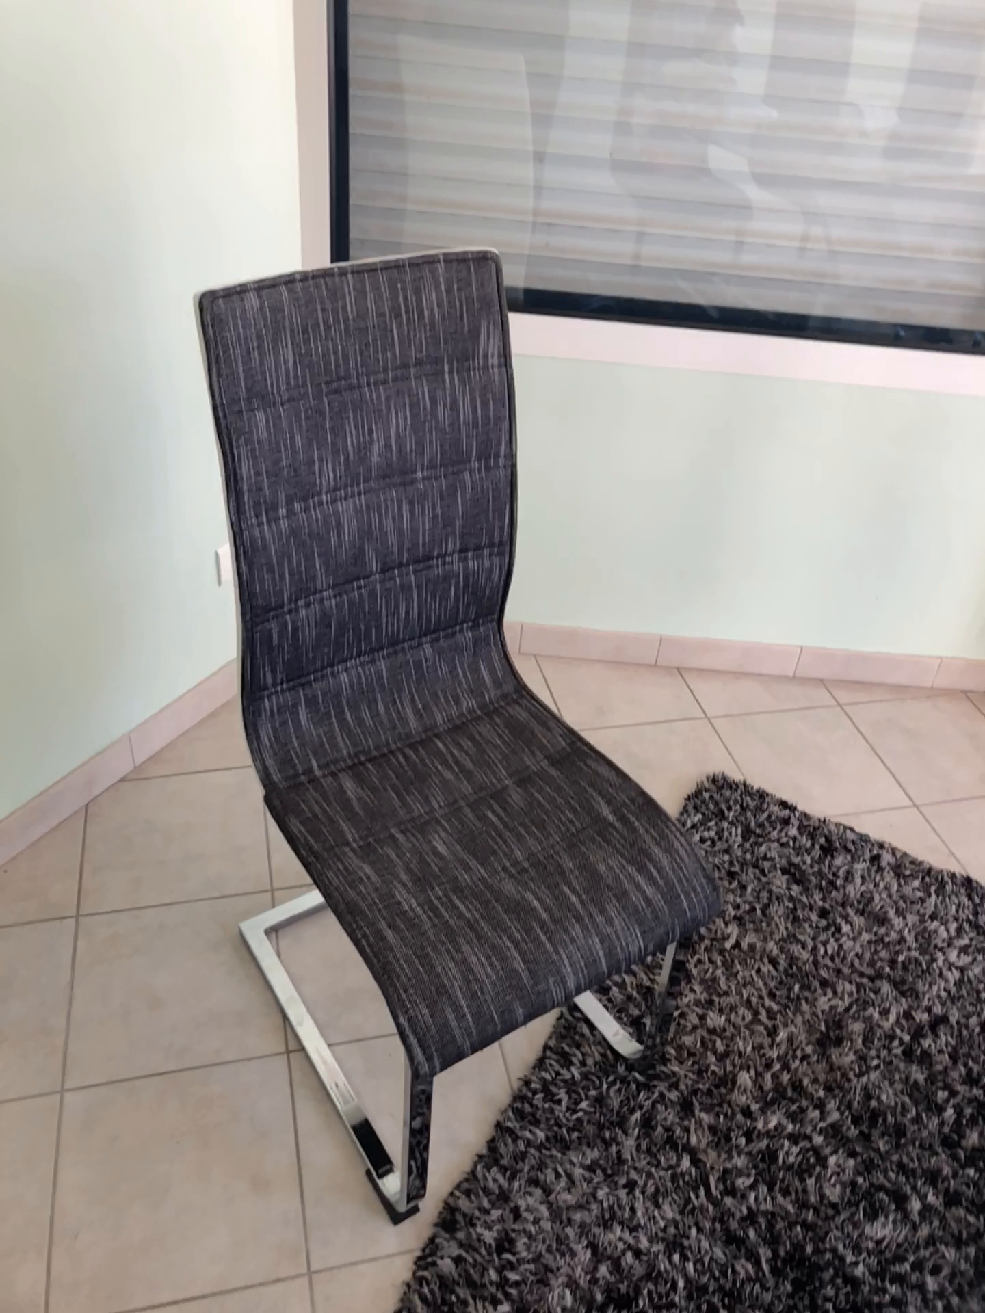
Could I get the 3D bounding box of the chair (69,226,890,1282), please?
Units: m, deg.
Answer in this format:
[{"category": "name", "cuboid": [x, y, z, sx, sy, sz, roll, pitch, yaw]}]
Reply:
[{"category": "chair", "cuboid": [-0.070, 0.103, 1.255, 0.502, 0.964, 0.581, -20, 43, -30]}]
